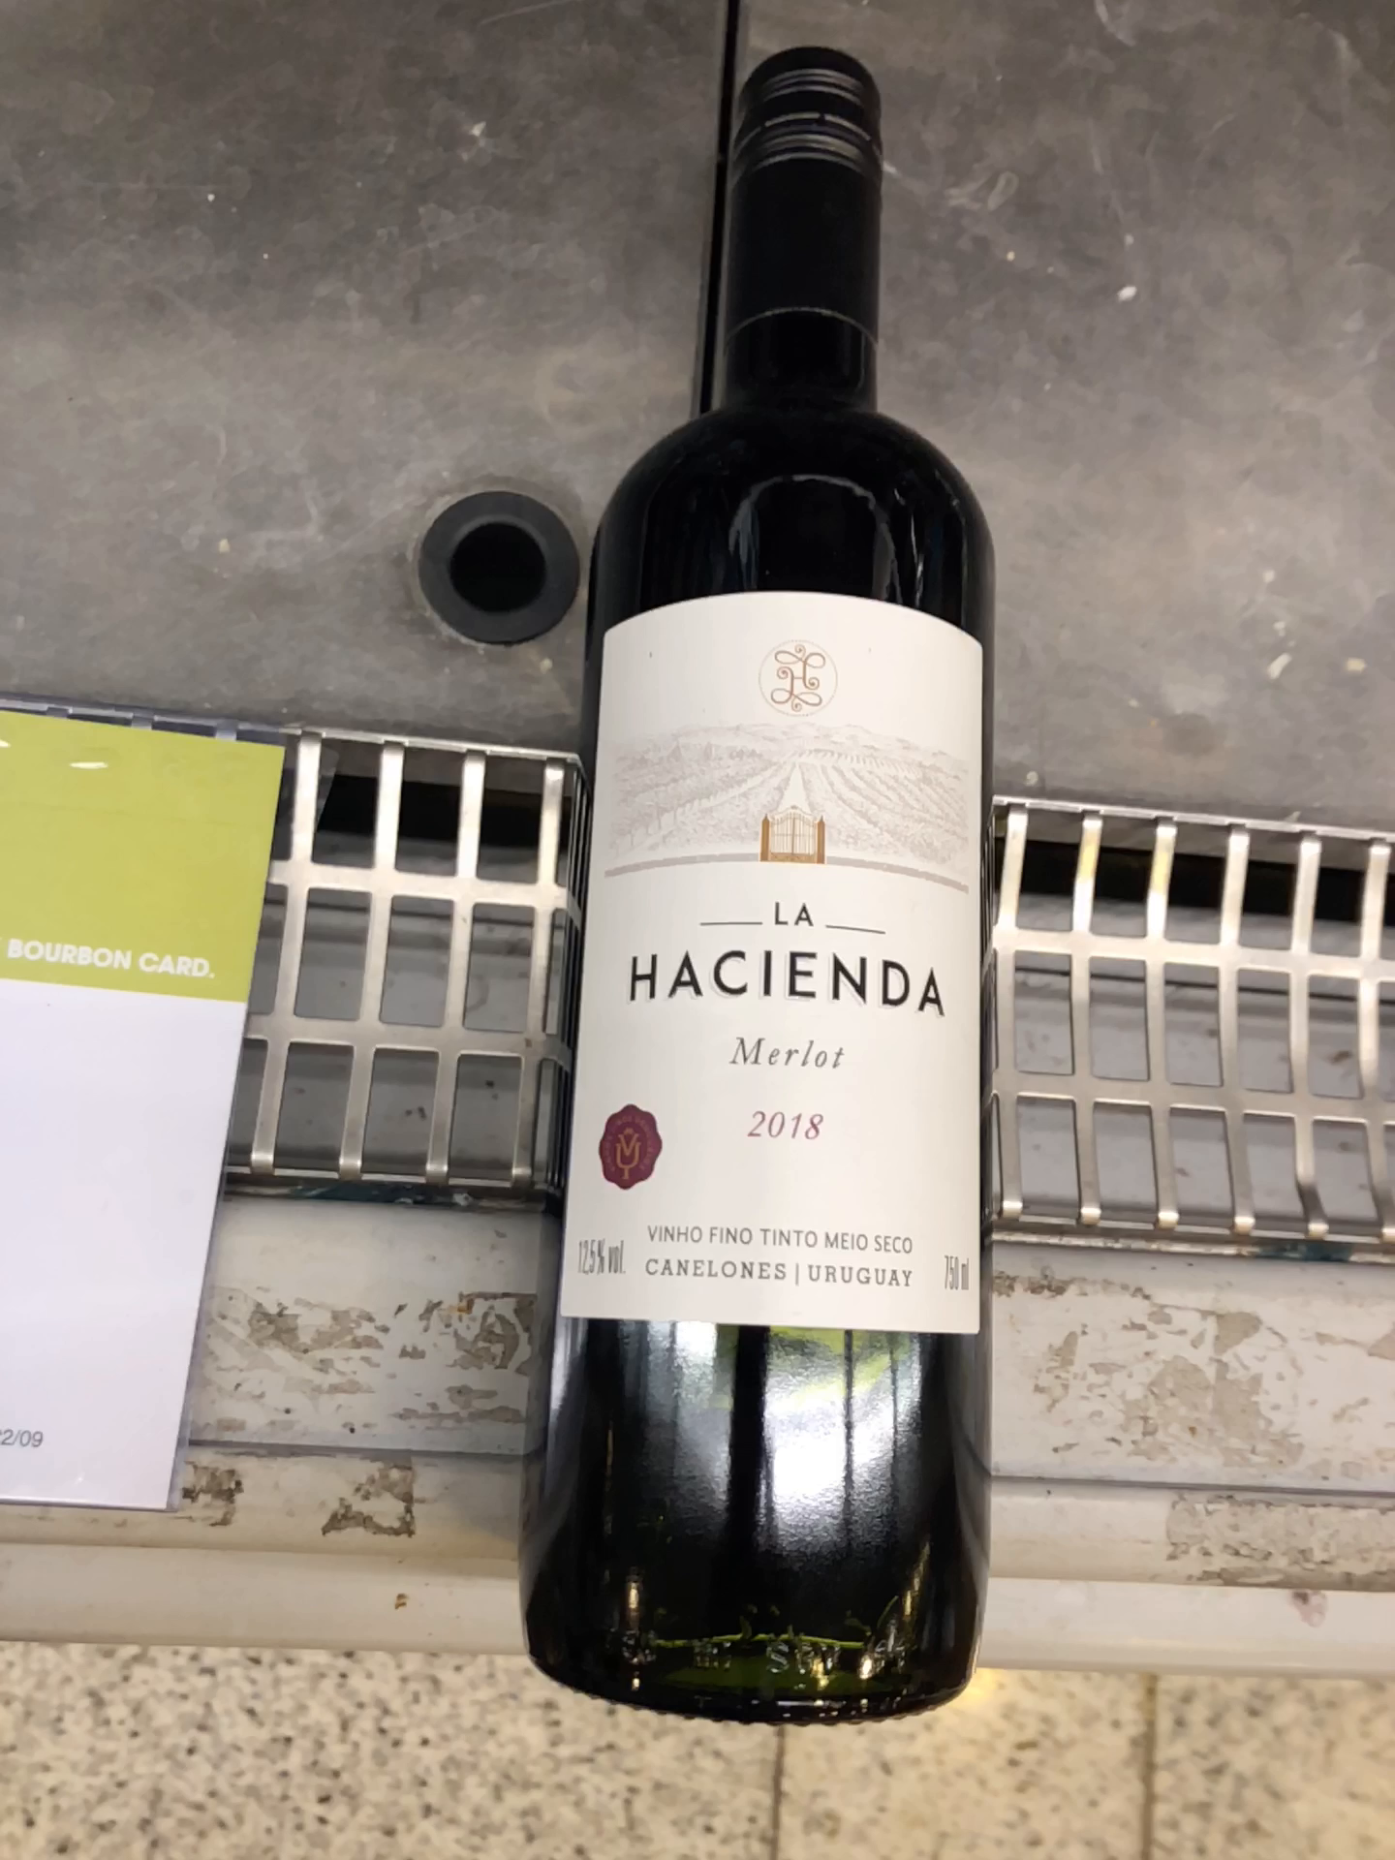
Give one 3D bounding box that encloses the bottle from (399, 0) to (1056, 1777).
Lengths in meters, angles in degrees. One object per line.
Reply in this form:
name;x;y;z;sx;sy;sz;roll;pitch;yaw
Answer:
bottle;0.008;-0.036;0.257;0.080;0.070;0.300;5;76;-6
